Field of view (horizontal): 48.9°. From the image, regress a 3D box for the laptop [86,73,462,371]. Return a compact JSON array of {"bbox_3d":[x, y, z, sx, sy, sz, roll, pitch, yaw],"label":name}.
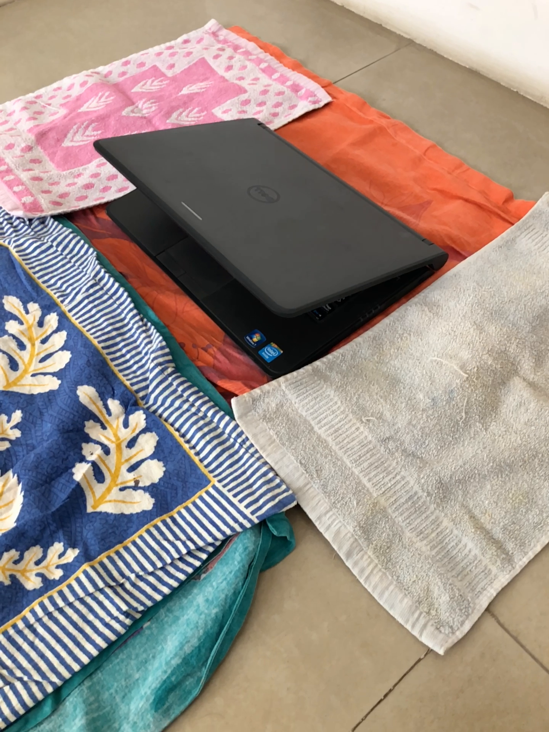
[{"bbox_3d":[-0.008,-0.172,0.636,0.227,0.078,0.315,-34,60,-22],"label":"laptop"}]
